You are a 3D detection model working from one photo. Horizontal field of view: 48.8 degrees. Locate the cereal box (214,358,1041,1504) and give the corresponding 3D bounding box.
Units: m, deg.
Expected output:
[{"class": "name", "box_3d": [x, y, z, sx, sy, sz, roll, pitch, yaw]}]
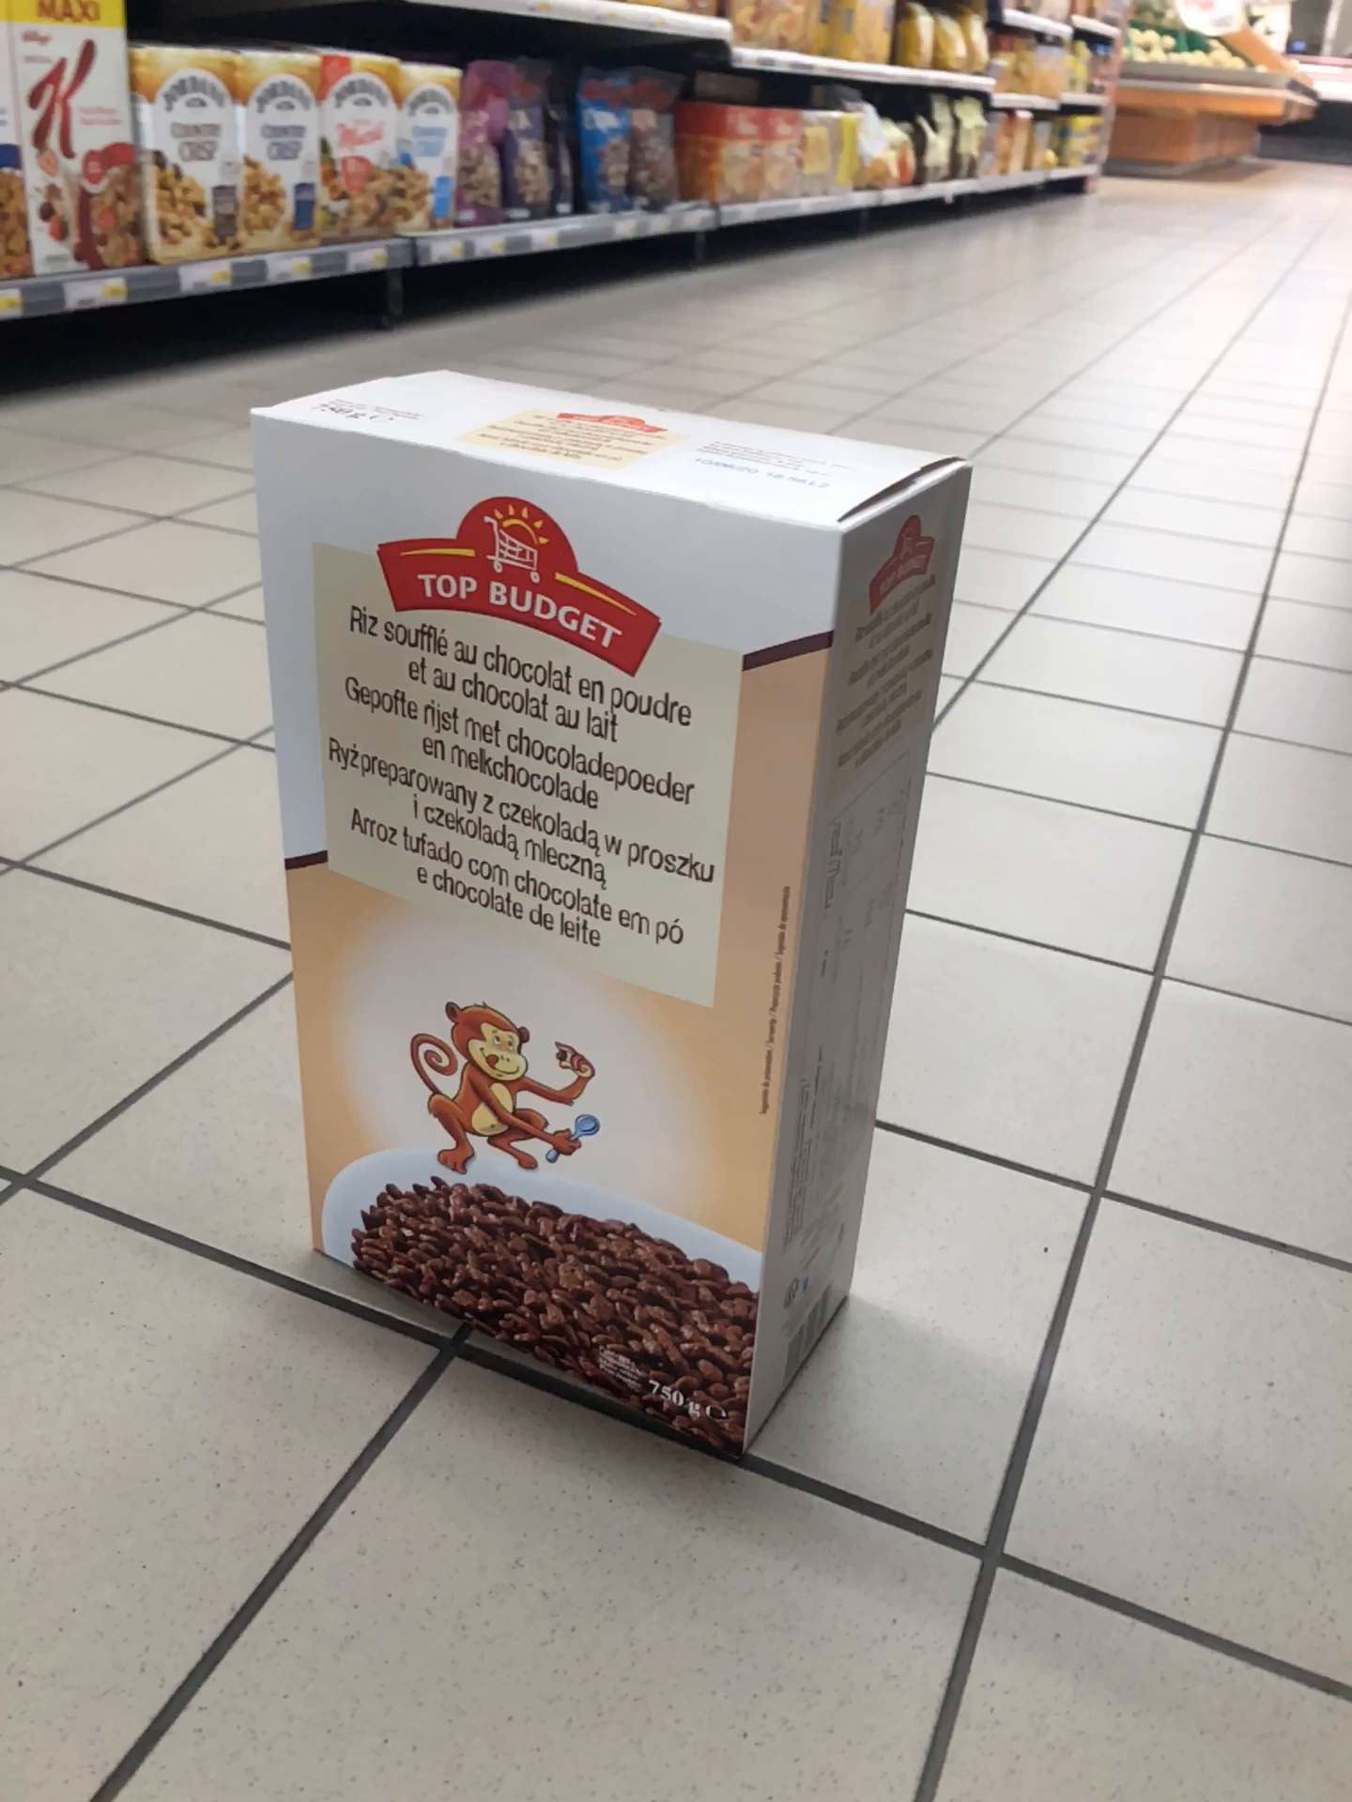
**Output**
[{"class": "cereal box", "box_3d": [-0.025, 0.005, 0.499, 0.210, 0.318, 0.111, 18, 31, 25]}]
